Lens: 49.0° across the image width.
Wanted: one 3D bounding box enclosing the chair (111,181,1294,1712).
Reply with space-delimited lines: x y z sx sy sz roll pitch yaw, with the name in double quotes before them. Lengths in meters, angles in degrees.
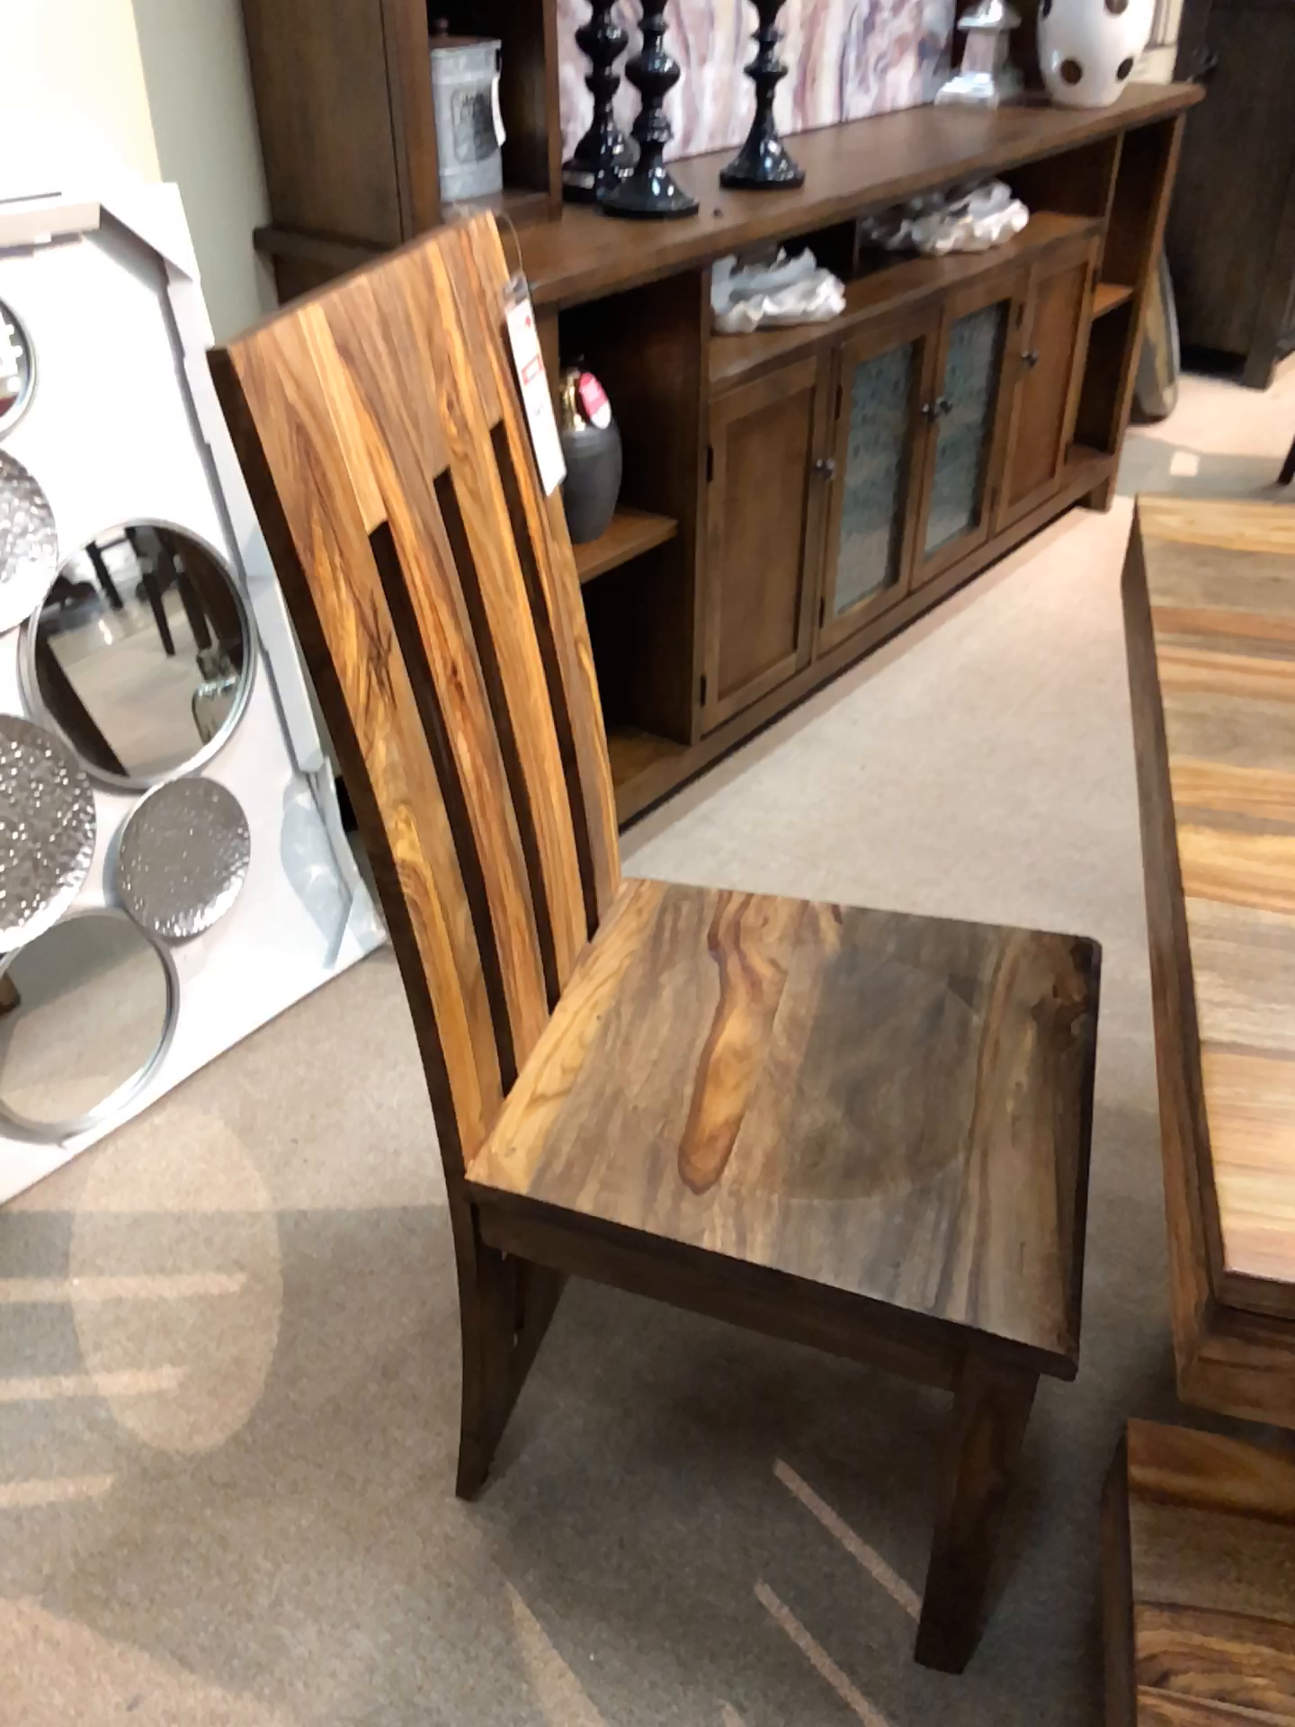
"chair" 0.085 0.078 1.131 0.591 1.023 0.513 10 36 13
